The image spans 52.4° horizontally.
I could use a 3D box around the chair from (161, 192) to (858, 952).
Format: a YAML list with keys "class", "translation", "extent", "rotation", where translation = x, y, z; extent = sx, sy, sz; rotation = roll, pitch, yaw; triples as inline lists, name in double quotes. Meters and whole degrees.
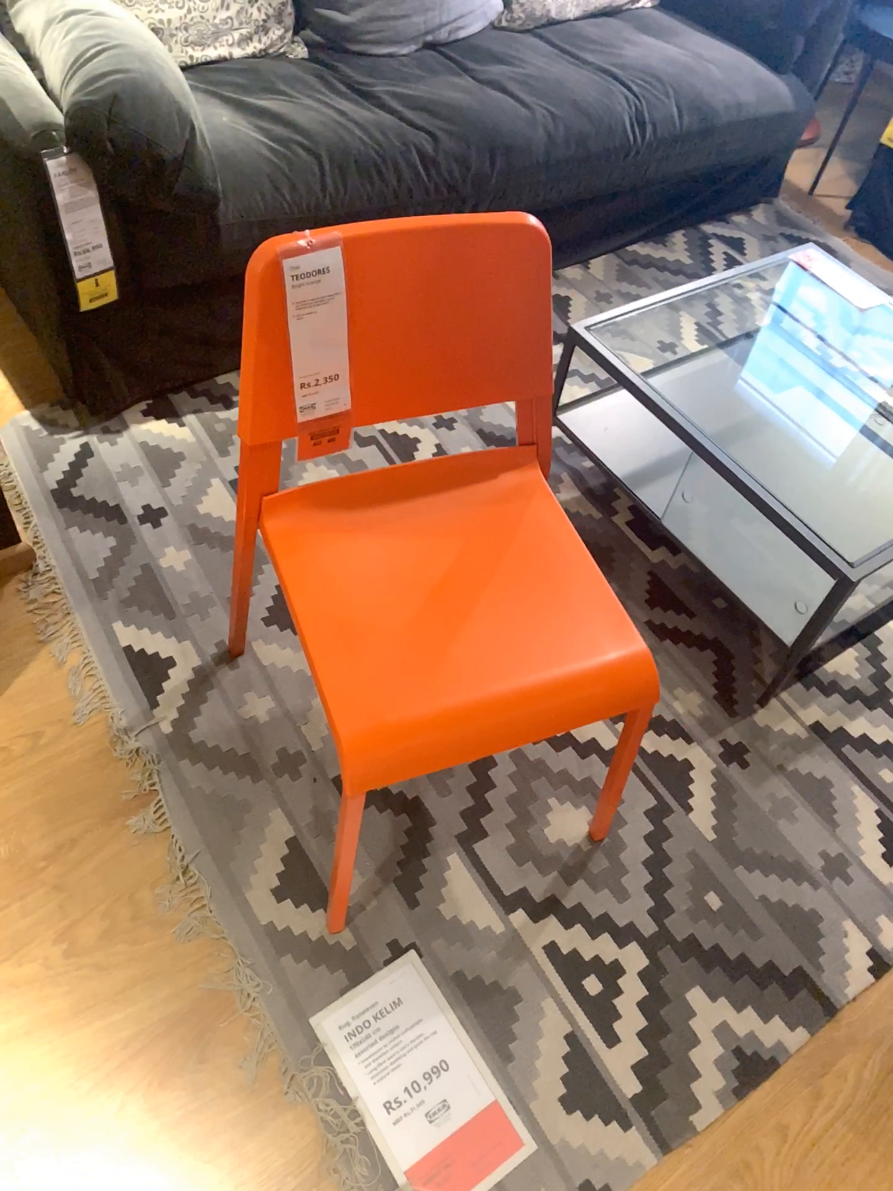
- class: "chair"
  translation: [-0.006, -0.012, 1.205]
  extent: [0.520, 0.728, 0.581]
  rotation: [-14, 56, -19]
